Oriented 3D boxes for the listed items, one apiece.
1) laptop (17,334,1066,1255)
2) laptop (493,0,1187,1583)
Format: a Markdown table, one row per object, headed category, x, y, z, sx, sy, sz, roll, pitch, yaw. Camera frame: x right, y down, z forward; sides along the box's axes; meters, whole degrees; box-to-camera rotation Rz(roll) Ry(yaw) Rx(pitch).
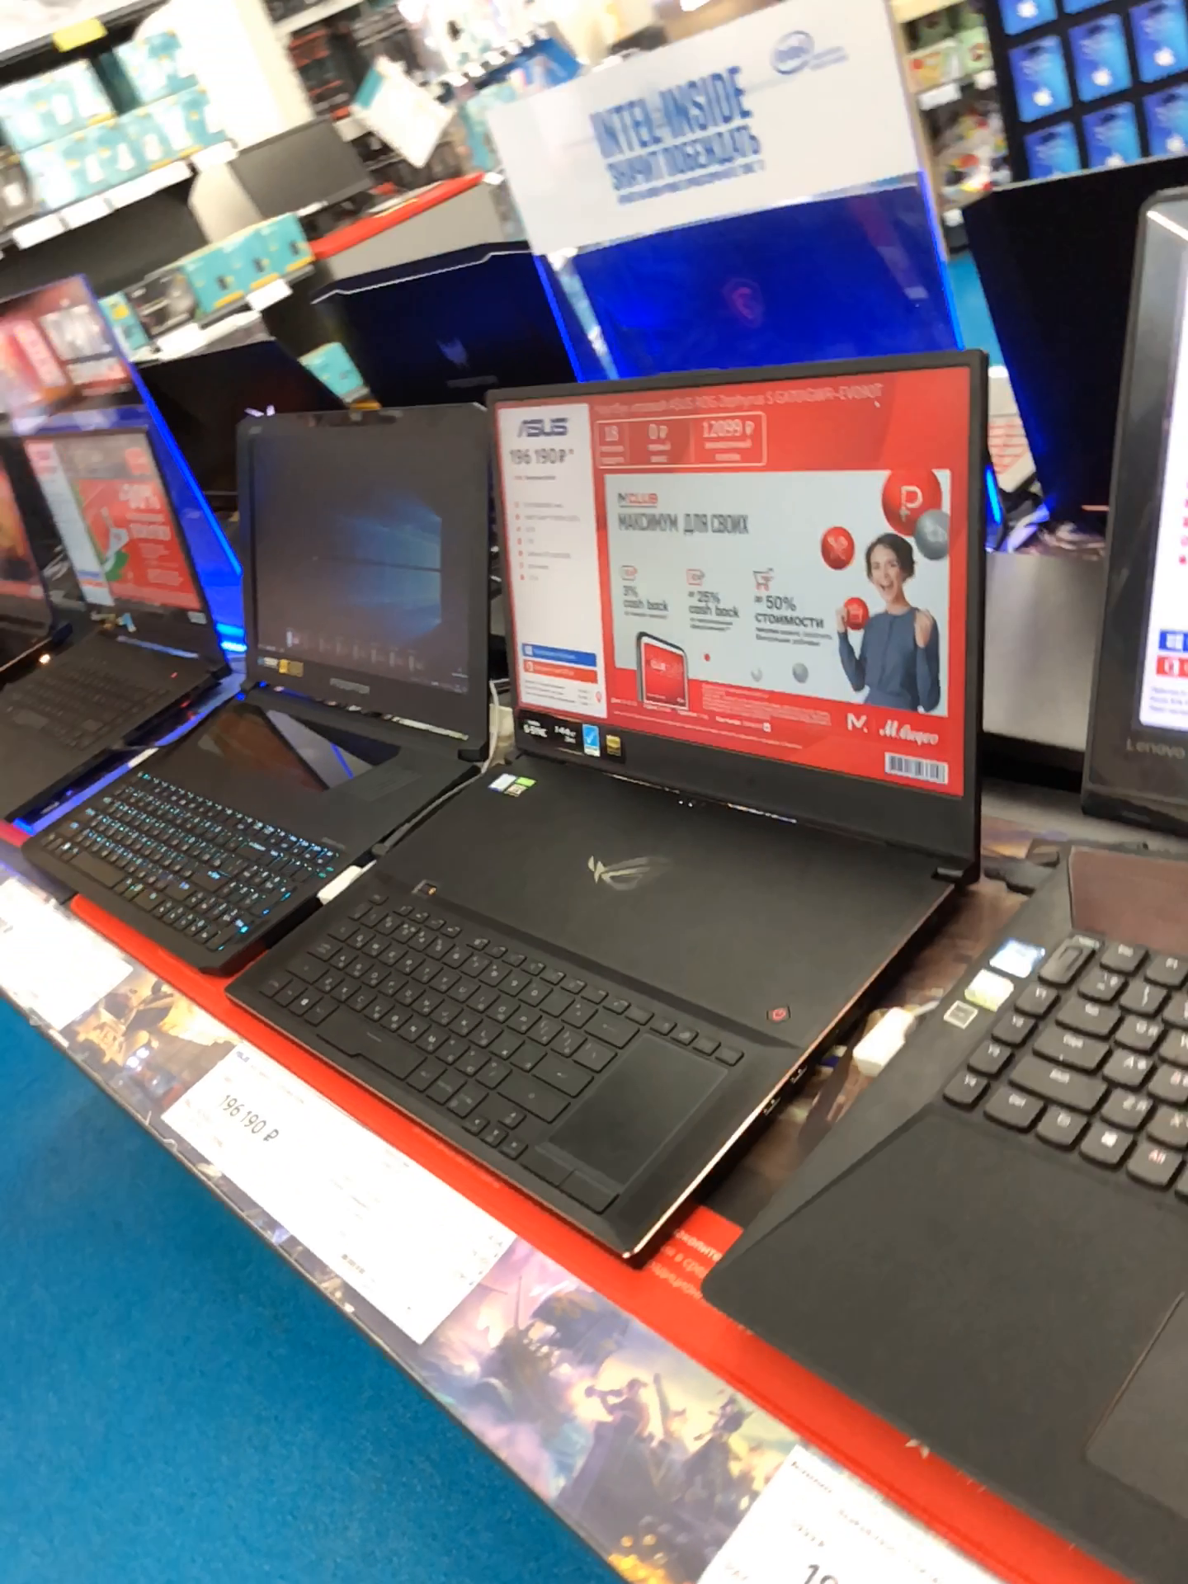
| category | x | y | z | sx | sy | sz | roll | pitch | yaw |
| --- | --- | --- | --- | --- | --- | --- | --- | --- | --- |
| laptop | -0.029 | -0.044 | 0.732 | 0.378 | 0.240 | 0.392 | -41 | 34 | -28 |
| laptop | 0.262 | 0.003 | 0.382 | 0.412 | 0.248 | 0.375 | -40 | 31 | -25 |
